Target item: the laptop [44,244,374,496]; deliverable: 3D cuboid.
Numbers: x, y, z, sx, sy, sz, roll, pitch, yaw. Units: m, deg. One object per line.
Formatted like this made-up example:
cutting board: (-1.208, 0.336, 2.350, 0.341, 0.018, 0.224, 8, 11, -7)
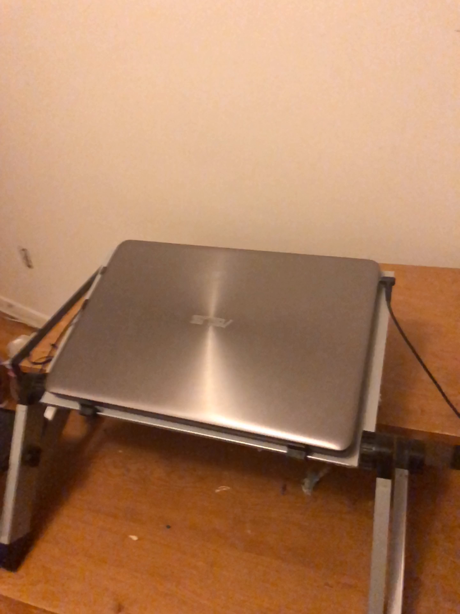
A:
laptop: (-0.021, 0.052, 0.646, 0.362, 0.071, 0.250, 7, 52, 21)
